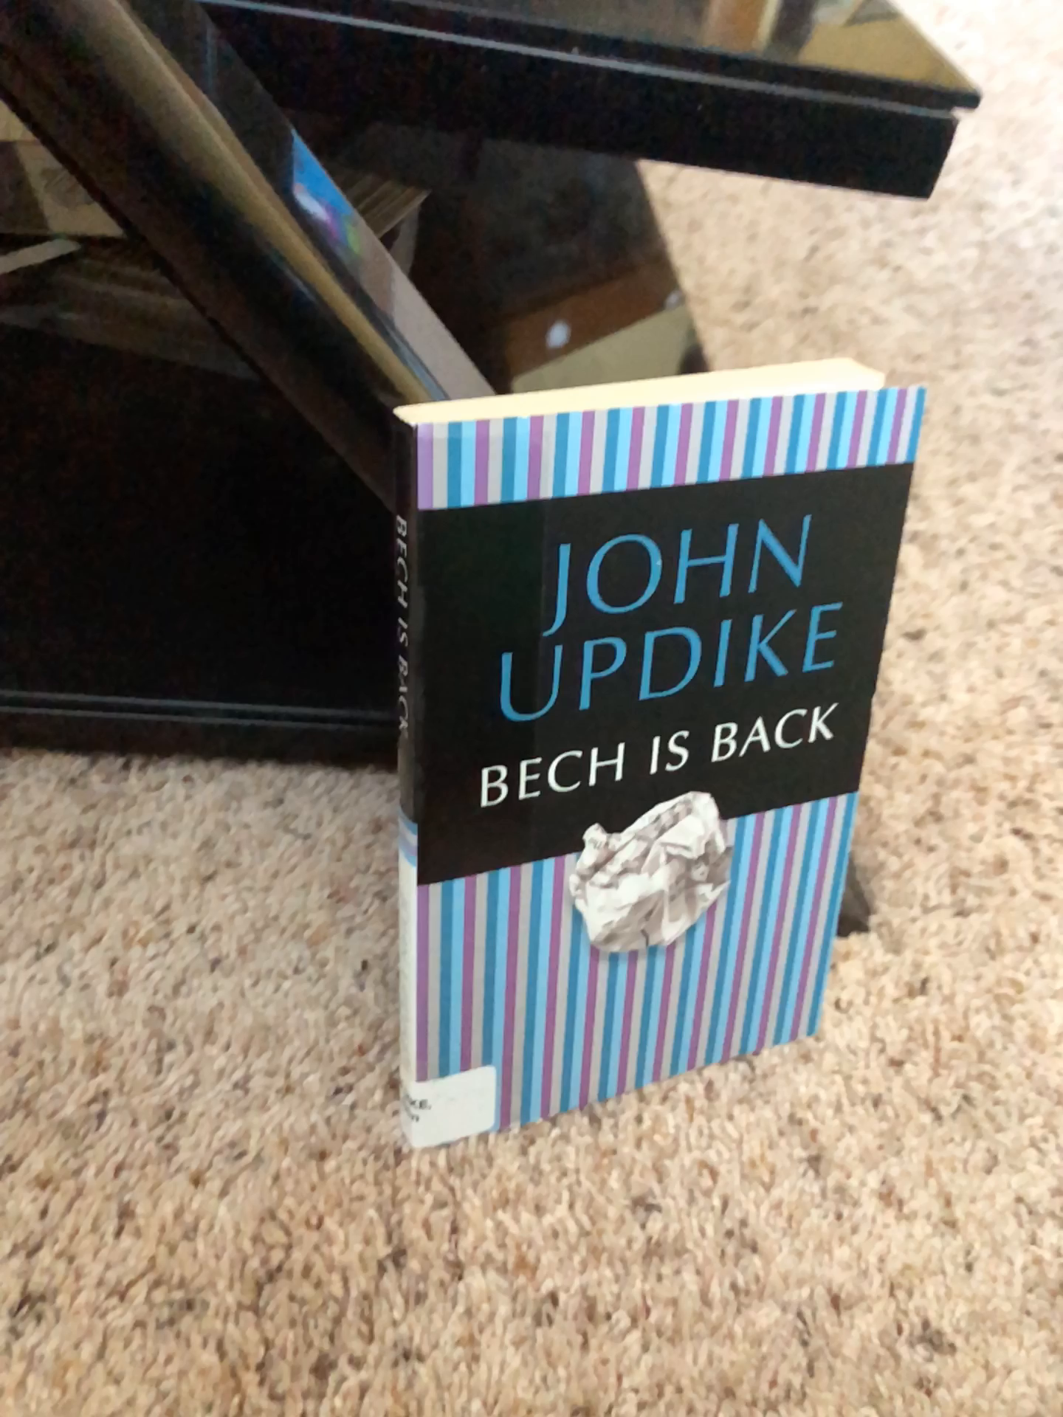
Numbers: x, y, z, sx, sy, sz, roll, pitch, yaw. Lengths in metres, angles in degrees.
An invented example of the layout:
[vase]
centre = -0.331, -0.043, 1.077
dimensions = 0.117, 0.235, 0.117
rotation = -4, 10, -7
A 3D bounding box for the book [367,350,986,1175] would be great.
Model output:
[book]
centre = 0.029, 0.018, 0.301
dimensions = 0.135, 0.201, 0.030
rotation = -11, 34, -23
